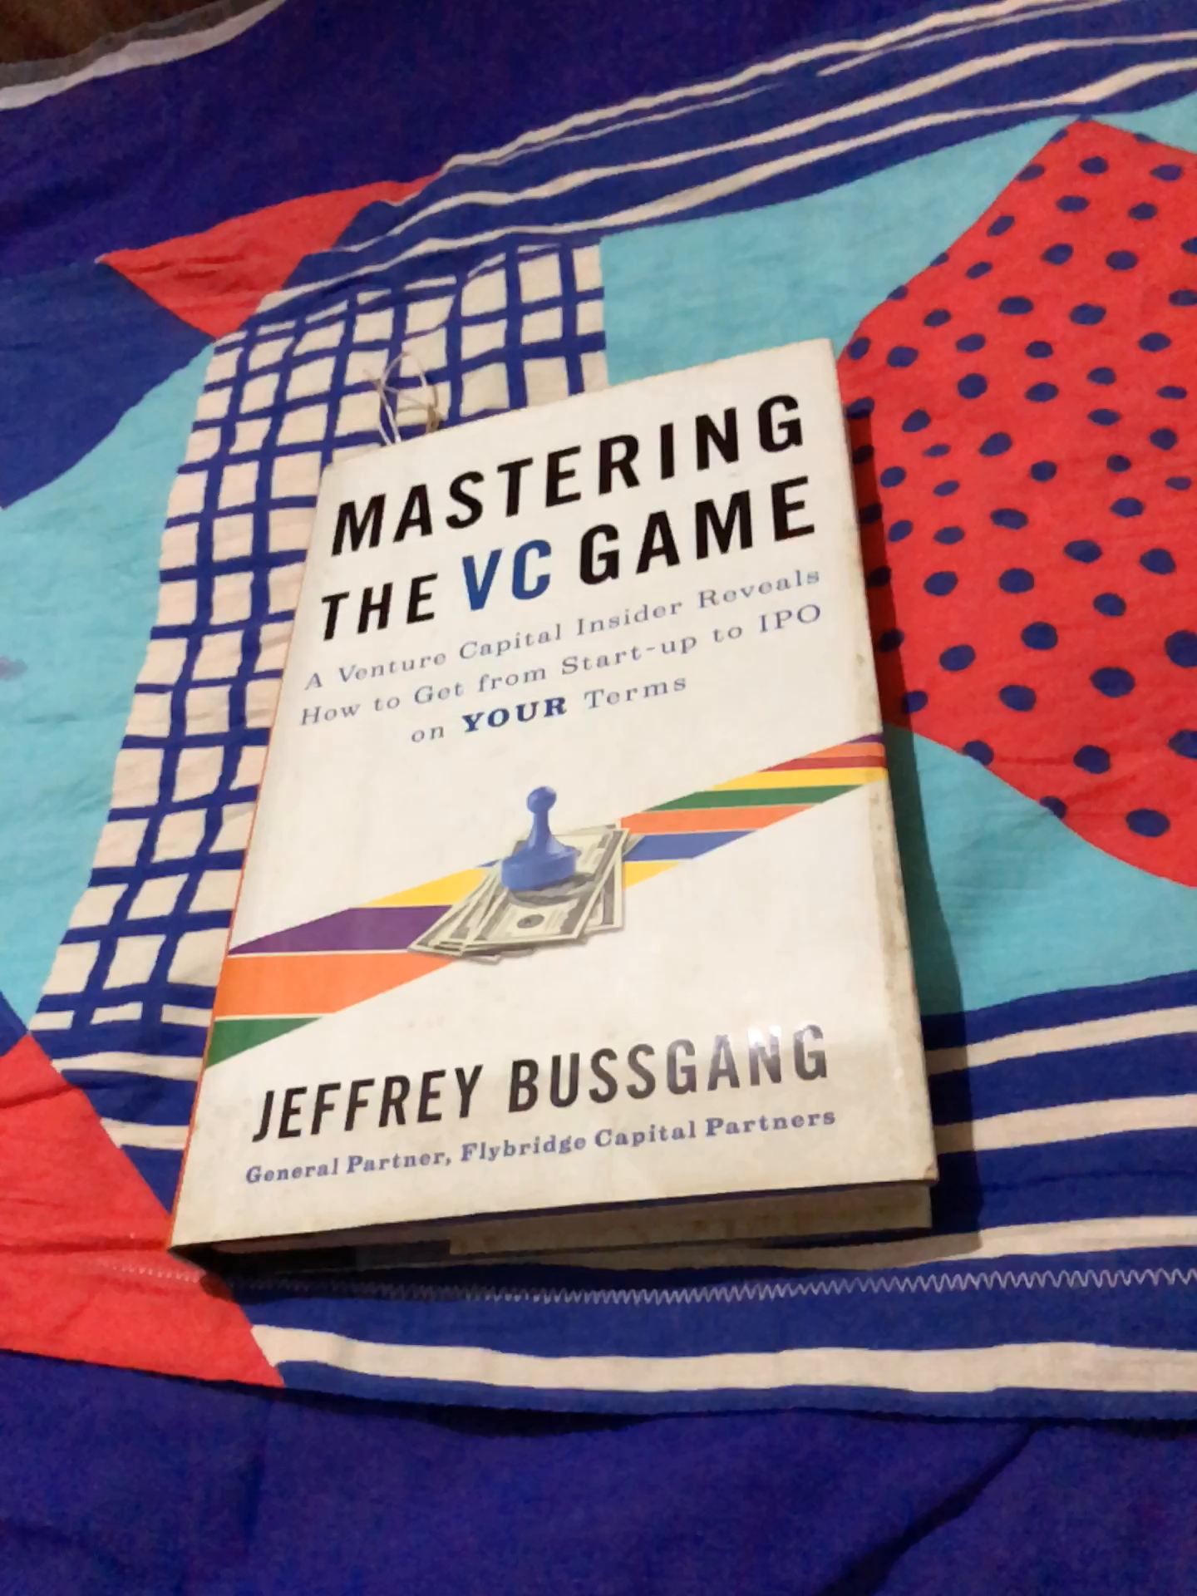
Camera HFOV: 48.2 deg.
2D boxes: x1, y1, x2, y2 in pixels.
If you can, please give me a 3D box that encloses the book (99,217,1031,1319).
[{"bbox_3d":[-0.006,-0.022,0.347,0.180,0.050,0.281,-10,54,16],"label":"book"}]
